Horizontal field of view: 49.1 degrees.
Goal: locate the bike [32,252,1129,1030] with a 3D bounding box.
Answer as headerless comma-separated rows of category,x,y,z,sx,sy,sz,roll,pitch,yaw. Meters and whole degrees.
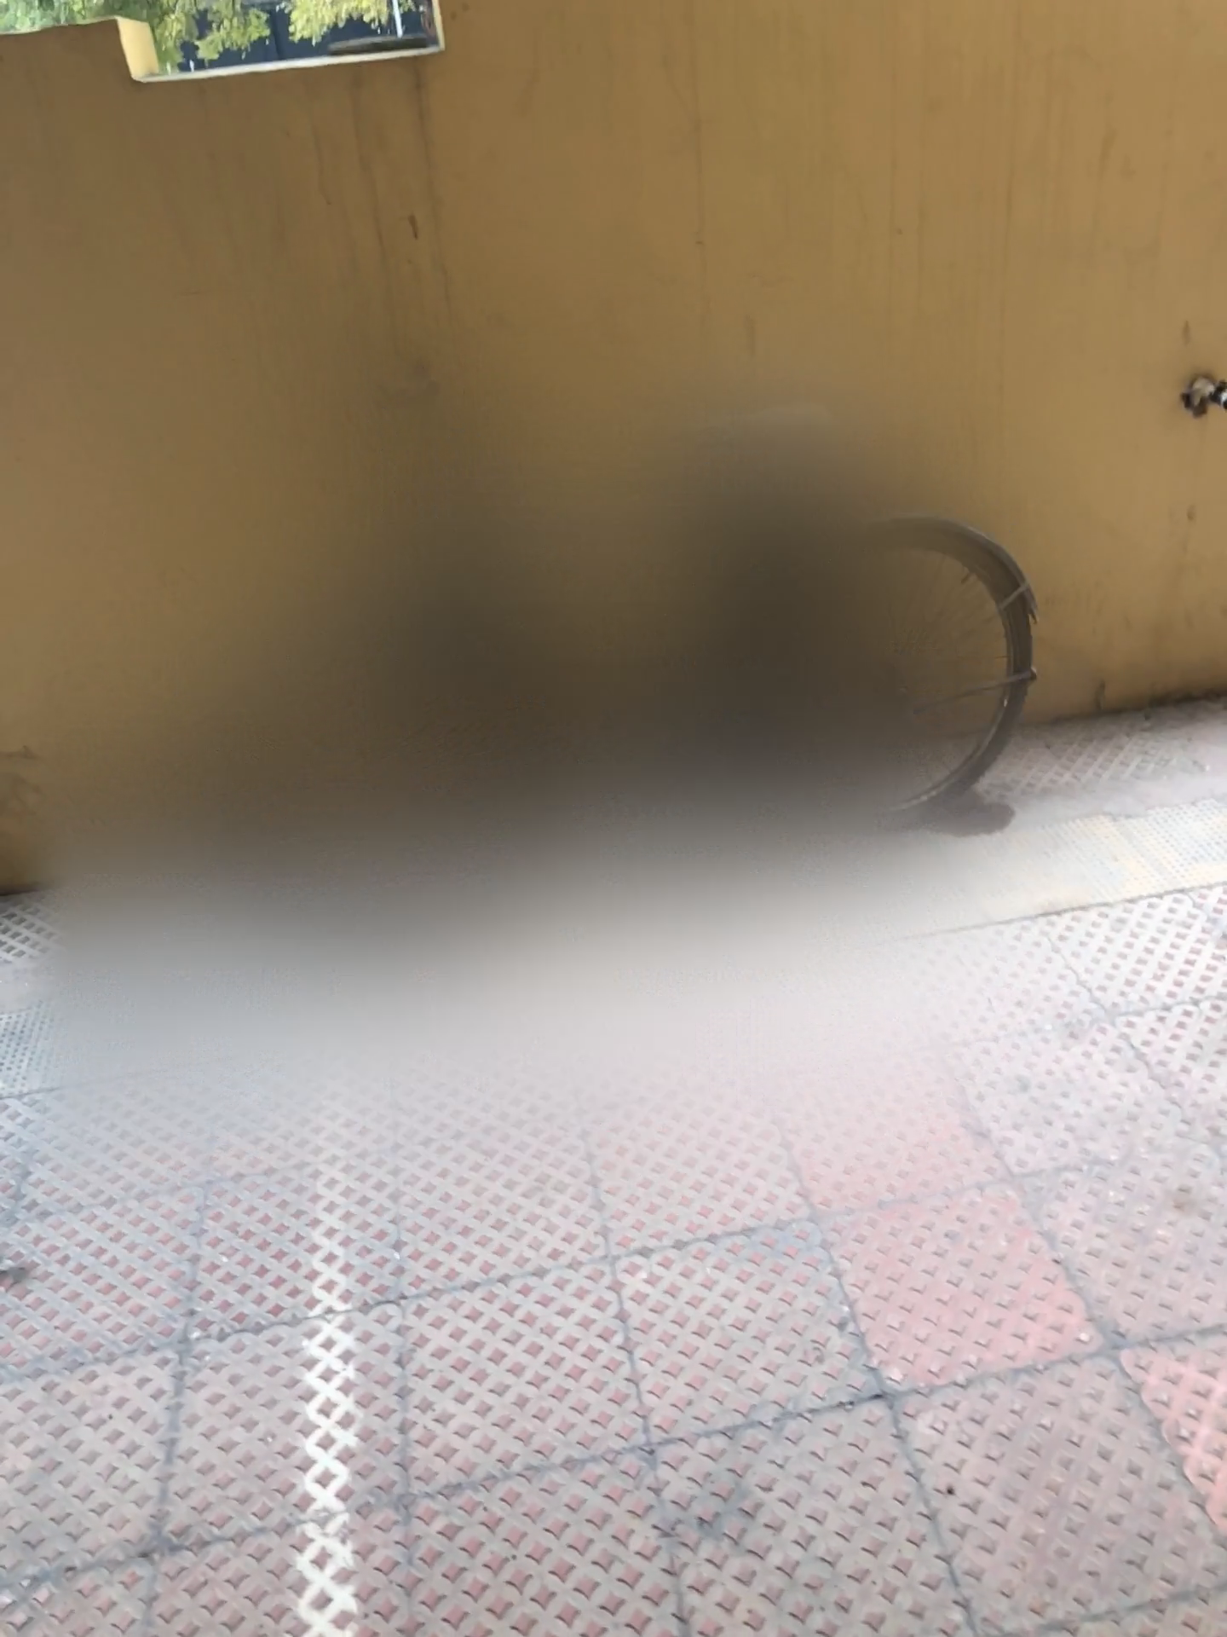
bike,0.038,-0.352,2.312,1.546,0.998,0.544,-10,31,-12
